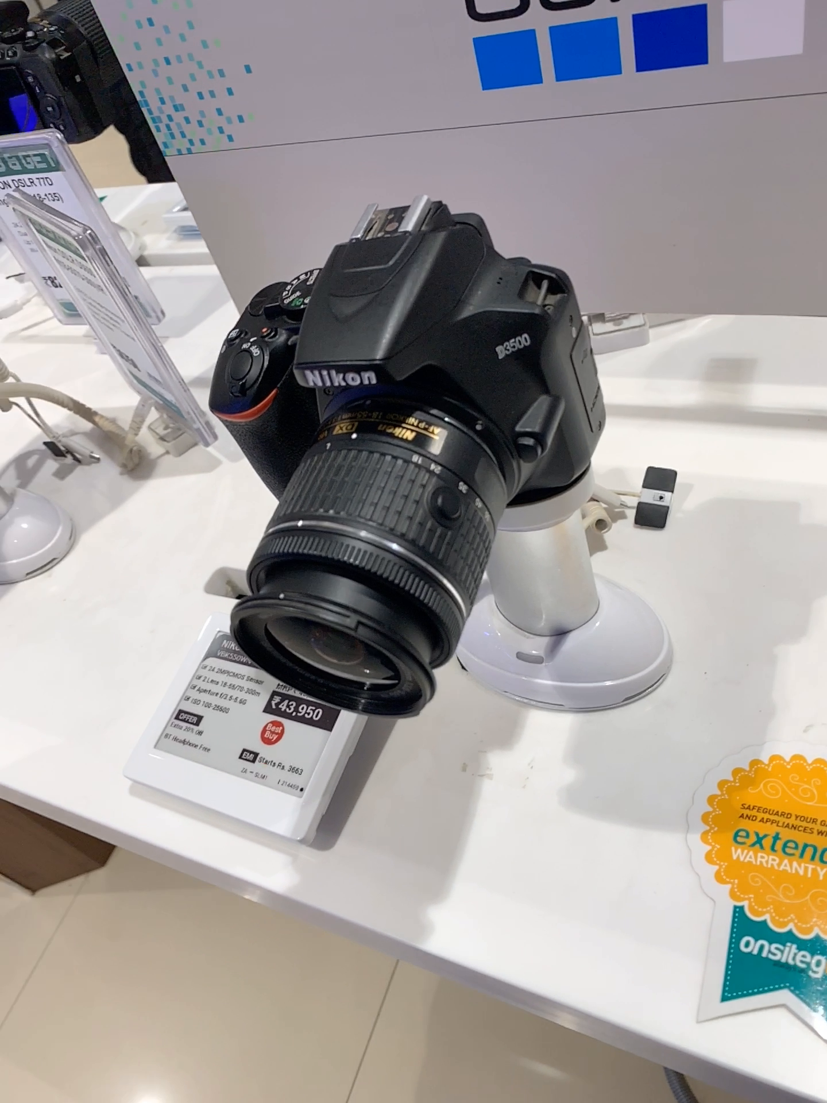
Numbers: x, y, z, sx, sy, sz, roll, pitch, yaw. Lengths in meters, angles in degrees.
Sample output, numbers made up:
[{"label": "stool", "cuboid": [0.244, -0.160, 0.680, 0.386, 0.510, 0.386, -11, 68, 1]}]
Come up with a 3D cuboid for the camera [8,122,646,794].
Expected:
[{"label": "camera", "cuboid": [-0.005, -0.038, 0.267, 0.120, 0.090, 0.180, 4, 52, 24]}]
